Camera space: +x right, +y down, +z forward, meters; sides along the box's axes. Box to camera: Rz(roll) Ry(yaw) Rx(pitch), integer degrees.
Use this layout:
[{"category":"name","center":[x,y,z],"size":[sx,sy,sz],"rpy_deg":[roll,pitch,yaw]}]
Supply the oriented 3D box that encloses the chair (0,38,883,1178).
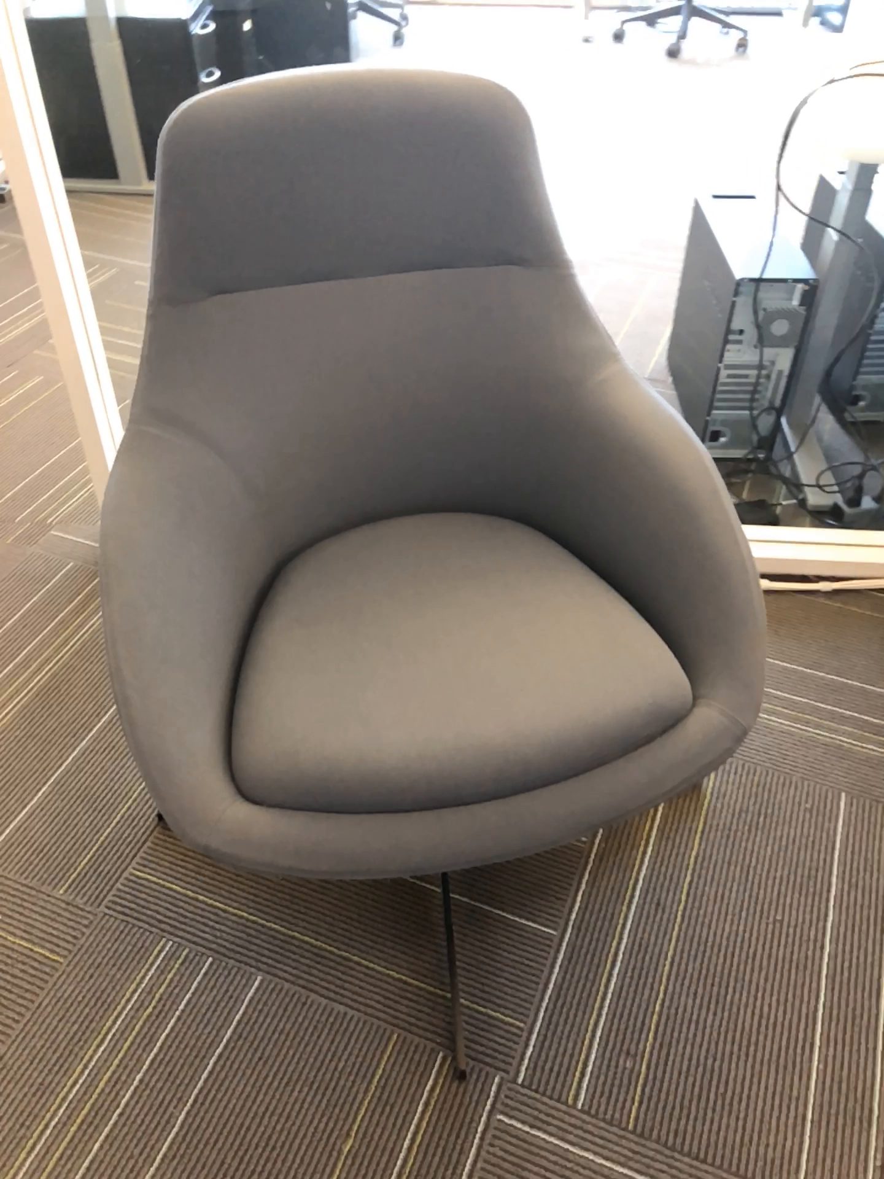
[{"category":"chair","center":[-0.064,-0.029,1.284],"size":[0.930,0.995,0.965],"rpy_deg":[-8,42,-10]}]
